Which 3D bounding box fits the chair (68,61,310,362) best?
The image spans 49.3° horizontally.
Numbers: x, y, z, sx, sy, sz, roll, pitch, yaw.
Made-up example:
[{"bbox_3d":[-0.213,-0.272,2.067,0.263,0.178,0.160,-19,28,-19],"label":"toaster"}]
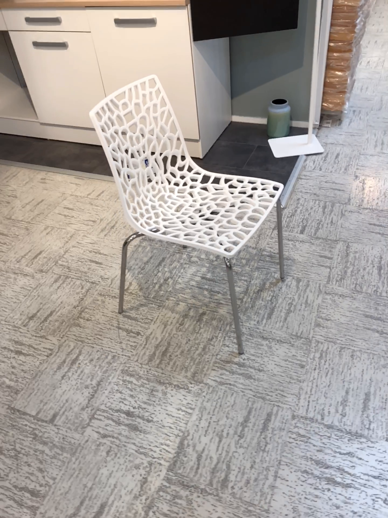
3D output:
[{"bbox_3d":[0.029,-0.158,1.414,0.510,0.785,0.453,17,45,25],"label":"chair"}]
